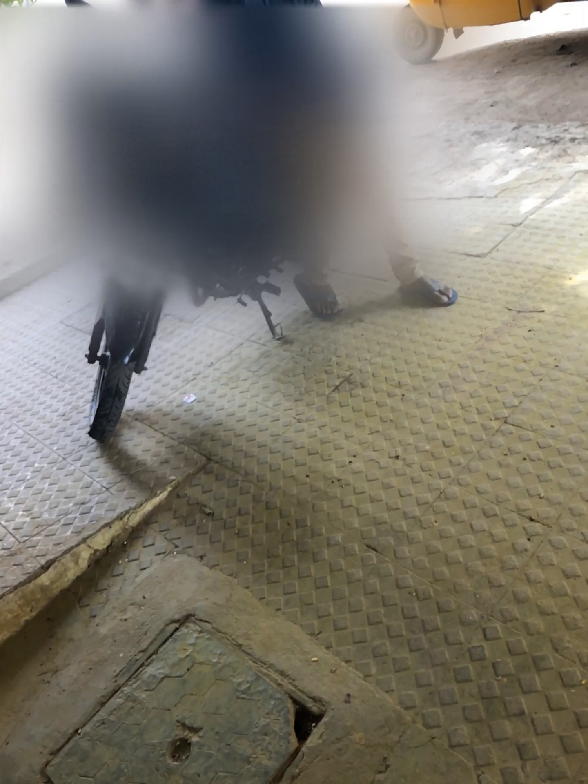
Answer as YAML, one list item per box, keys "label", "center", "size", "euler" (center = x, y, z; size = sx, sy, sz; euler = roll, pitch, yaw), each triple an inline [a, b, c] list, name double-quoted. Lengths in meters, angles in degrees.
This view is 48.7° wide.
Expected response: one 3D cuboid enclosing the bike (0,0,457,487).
- label: "bike"
  center: [-0.132, -0.757, 2.410]
  size: [0.783, 1.176, 1.752]
  euler: [9, 44, 32]
